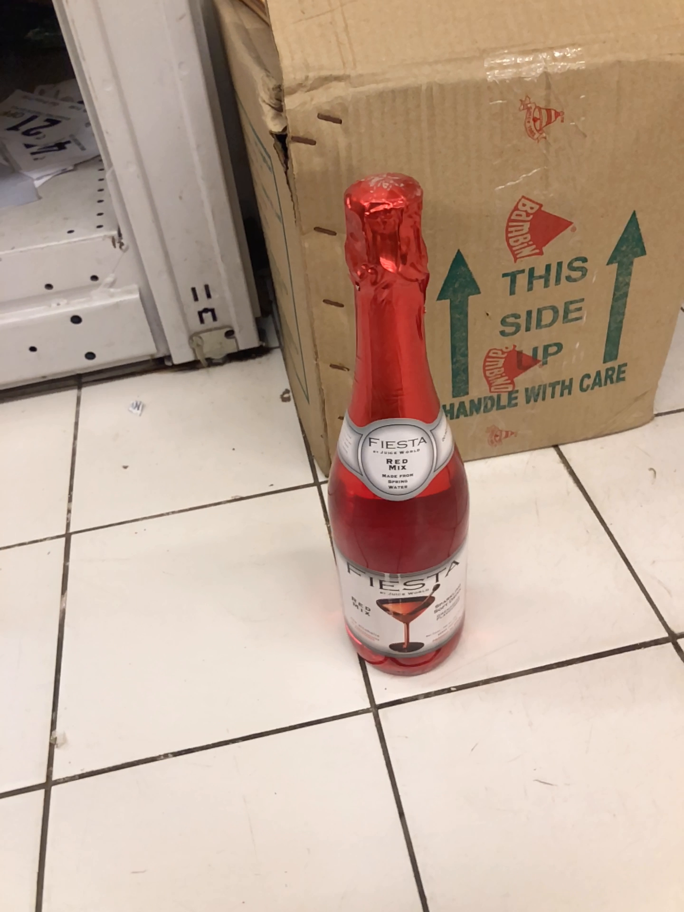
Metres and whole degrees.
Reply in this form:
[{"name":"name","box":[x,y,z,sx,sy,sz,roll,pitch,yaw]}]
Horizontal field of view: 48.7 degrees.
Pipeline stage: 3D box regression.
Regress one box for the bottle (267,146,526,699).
[{"name":"bottle","box":[0.028,0.009,0.395,0.090,0.298,0.080,-7,43,-1]}]
